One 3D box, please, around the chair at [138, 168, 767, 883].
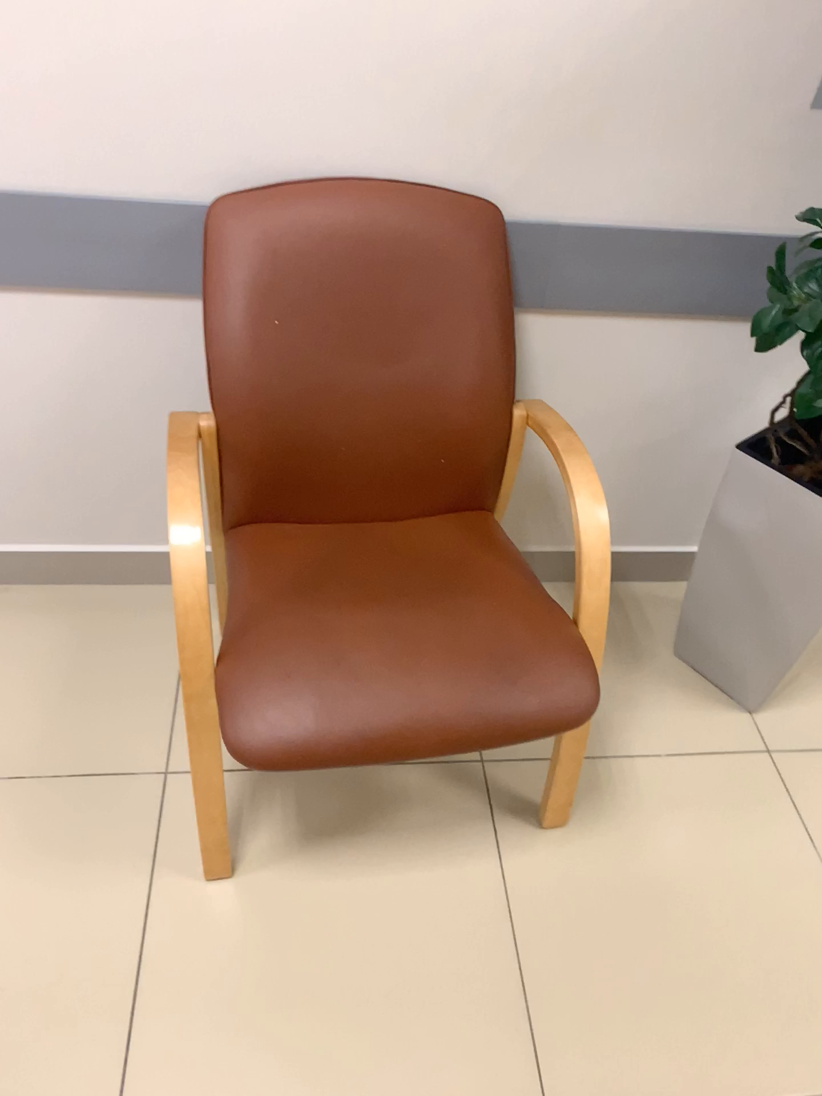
[{"bbox_3d":[-0.035,-0.010,1.409,0.671,0.985,0.603,-4,43,-12],"label":"chair"}]
